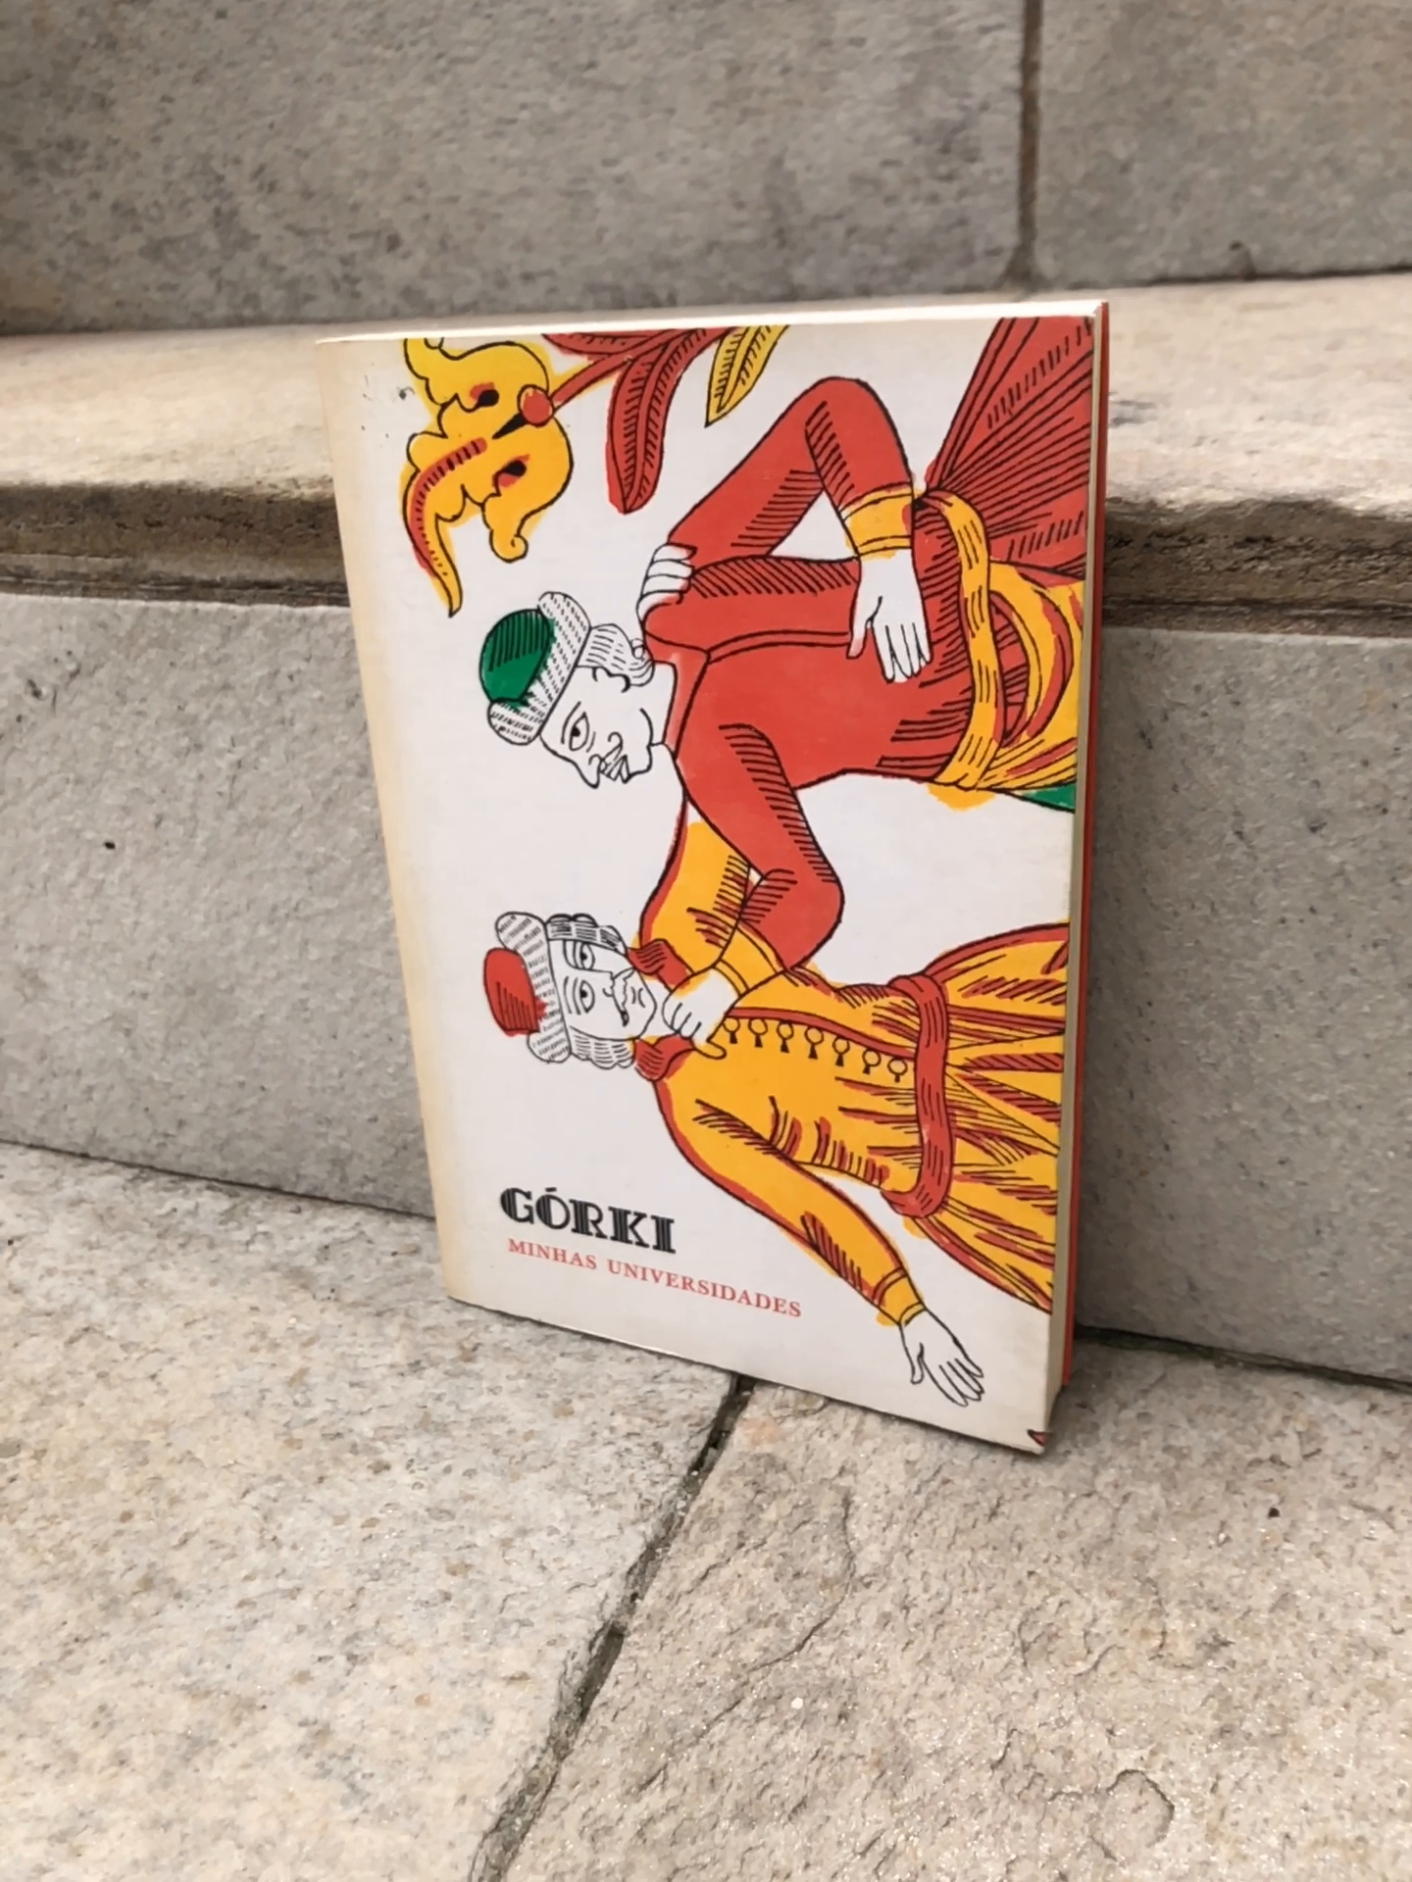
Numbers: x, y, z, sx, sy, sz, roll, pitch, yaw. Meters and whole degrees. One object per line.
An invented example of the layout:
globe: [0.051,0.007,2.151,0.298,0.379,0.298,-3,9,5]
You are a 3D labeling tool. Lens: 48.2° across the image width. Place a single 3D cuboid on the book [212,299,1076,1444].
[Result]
book: [-0.010,-0.012,0.289,0.142,0.189,0.030,7,24,25]
